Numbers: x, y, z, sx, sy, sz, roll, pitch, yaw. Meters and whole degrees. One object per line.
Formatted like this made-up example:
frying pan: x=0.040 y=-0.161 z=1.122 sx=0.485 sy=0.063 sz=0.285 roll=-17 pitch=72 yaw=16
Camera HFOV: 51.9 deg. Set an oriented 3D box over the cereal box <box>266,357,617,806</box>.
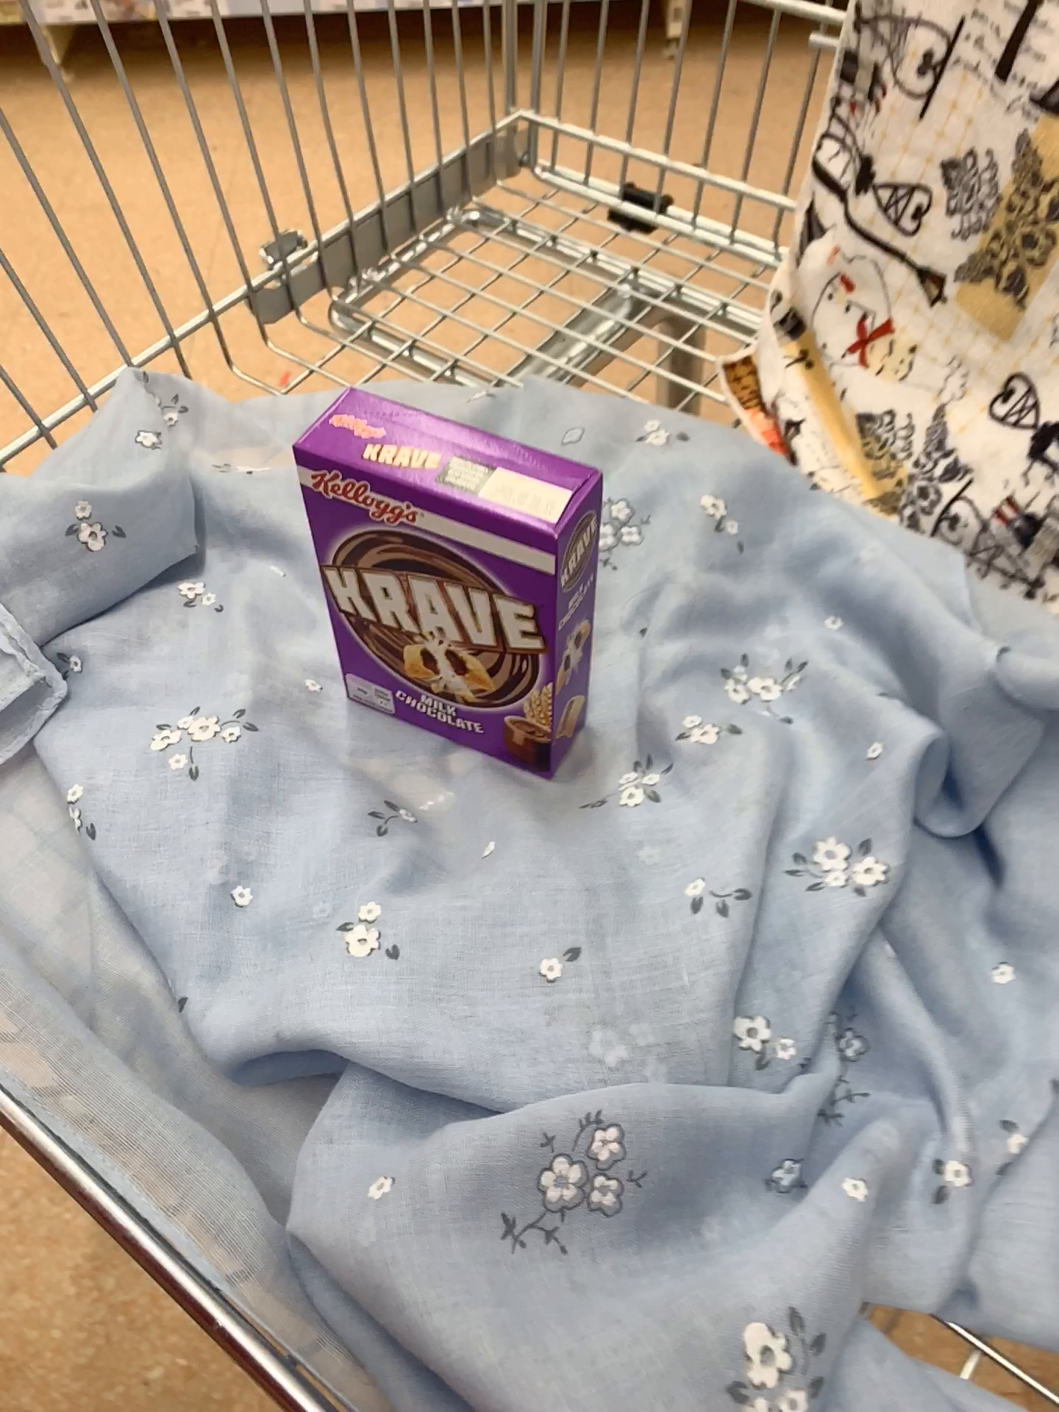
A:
cereal box: x=-0.025 y=-0.035 z=0.355 sx=0.090 sy=0.129 sz=0.040 roll=22 pitch=55 yaw=16
